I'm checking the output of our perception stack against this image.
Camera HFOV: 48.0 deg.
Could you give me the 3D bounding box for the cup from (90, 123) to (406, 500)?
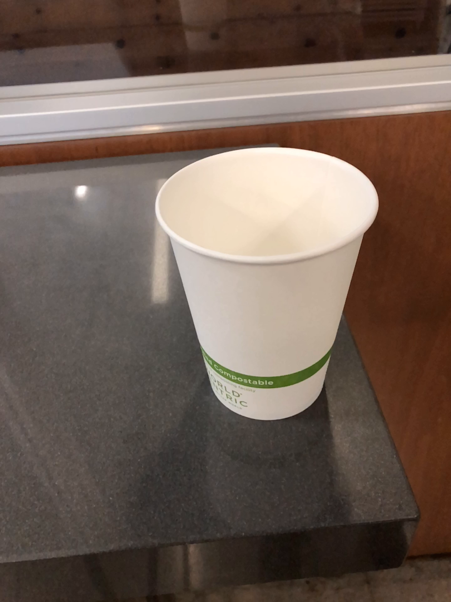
[{"bbox_3d":[0.013,0.001,0.227,0.080,0.119,0.090,26,48,31],"label":"cup"}]
